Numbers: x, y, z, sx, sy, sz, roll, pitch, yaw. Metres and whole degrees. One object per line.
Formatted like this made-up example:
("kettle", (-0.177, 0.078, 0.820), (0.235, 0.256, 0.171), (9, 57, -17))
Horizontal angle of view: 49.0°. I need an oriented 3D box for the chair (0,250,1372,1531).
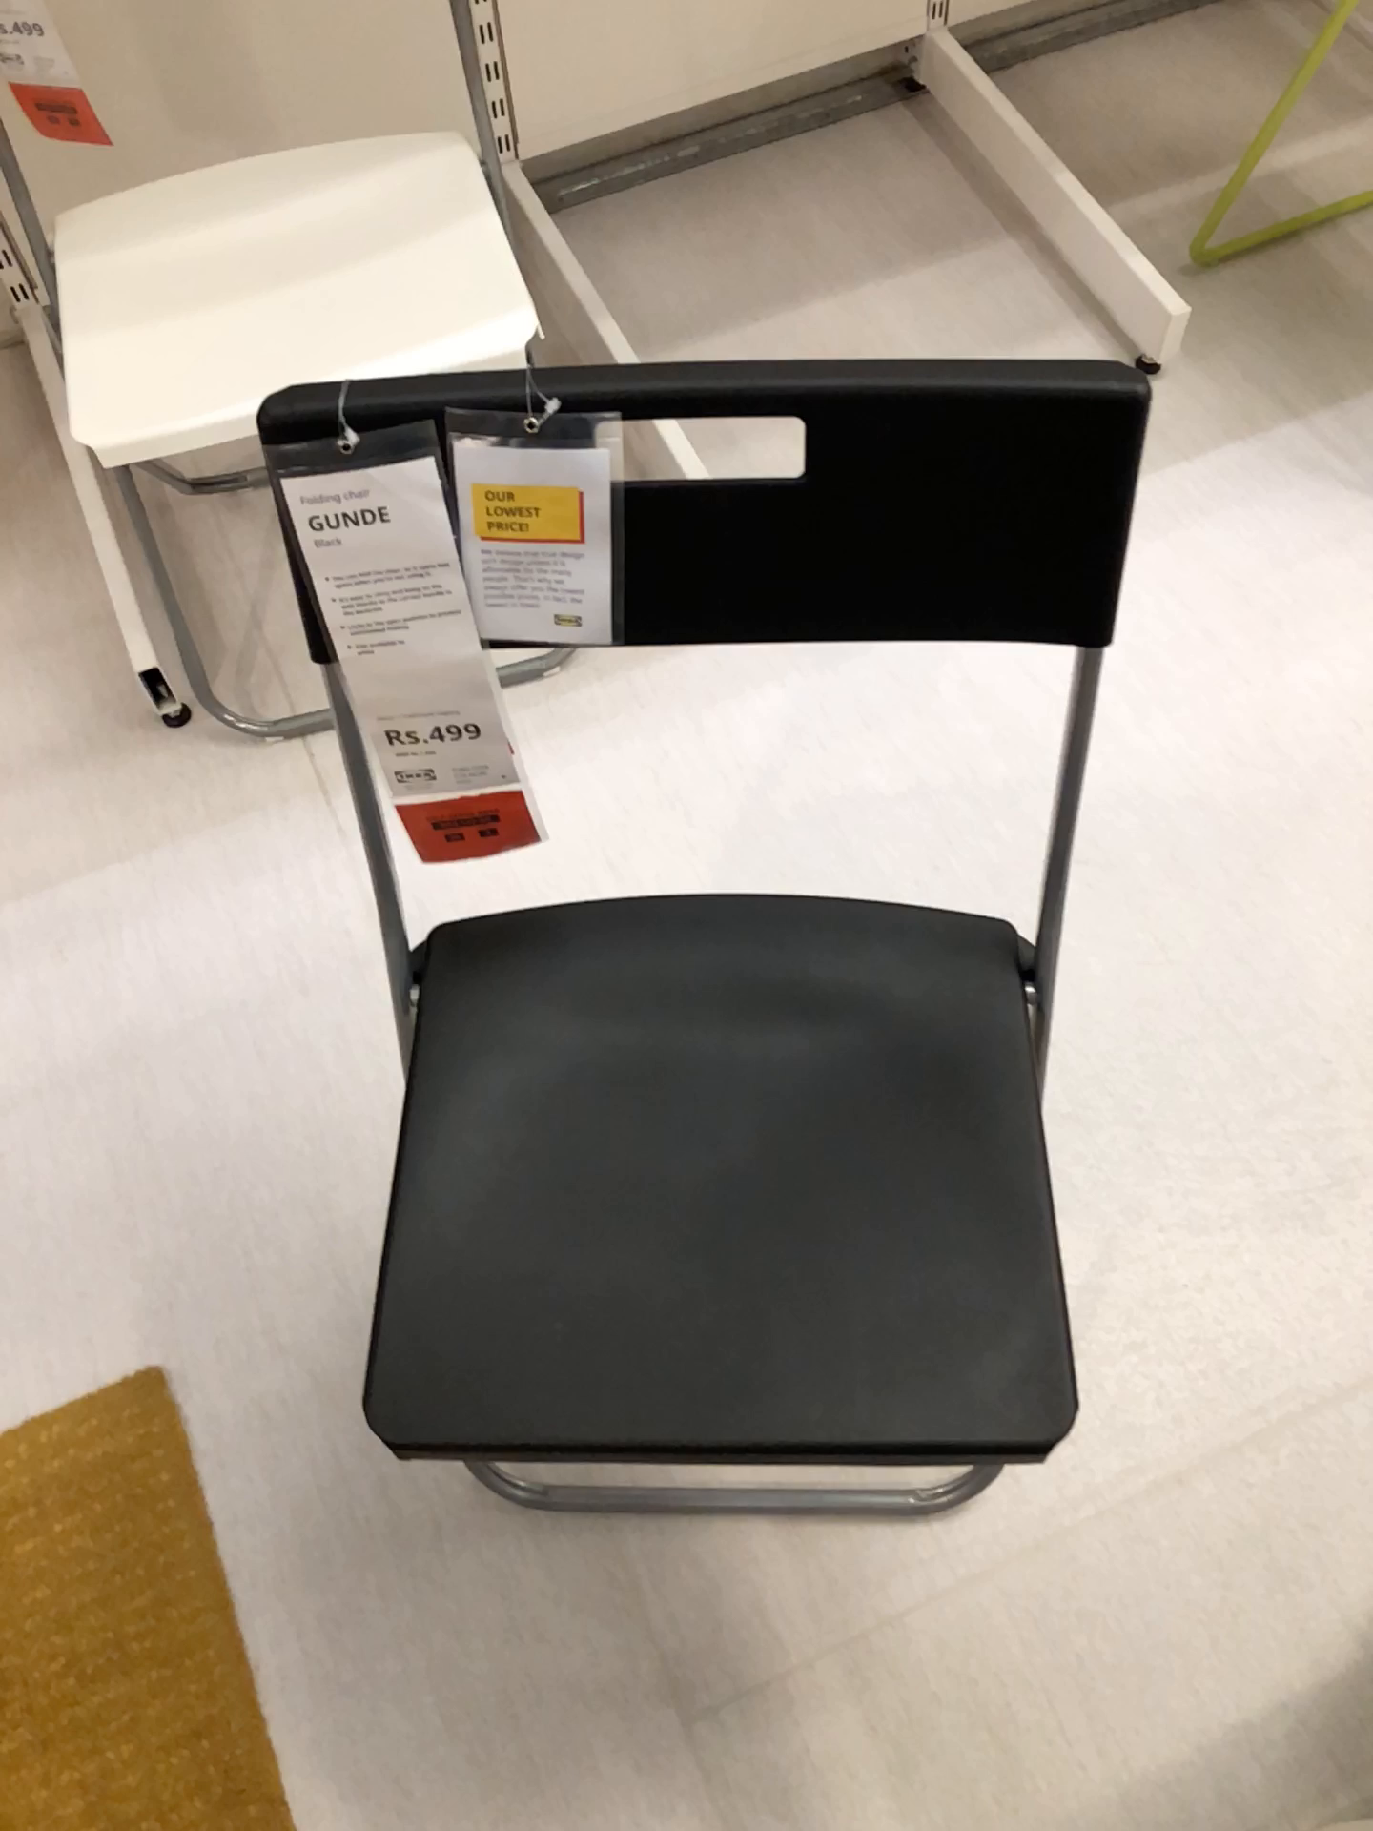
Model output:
("chair", (0.013, 0.086, 0.946), (0.500, 0.787, 0.462), (-1, 61, 2))
